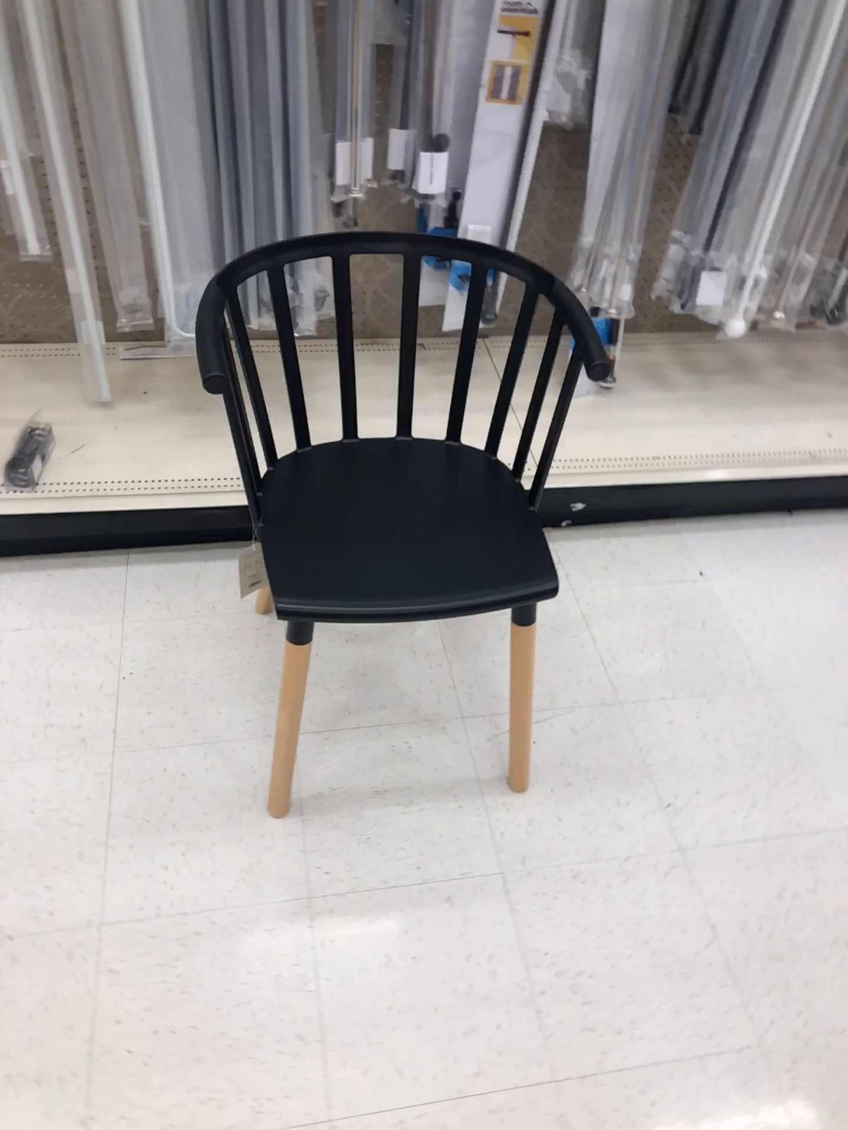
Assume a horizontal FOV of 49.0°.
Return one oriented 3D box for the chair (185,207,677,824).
[{"bbox_3d":[-0.054,-0.075,1.444,0.534,0.731,0.569,-3,44,-10],"label":"chair"}]
